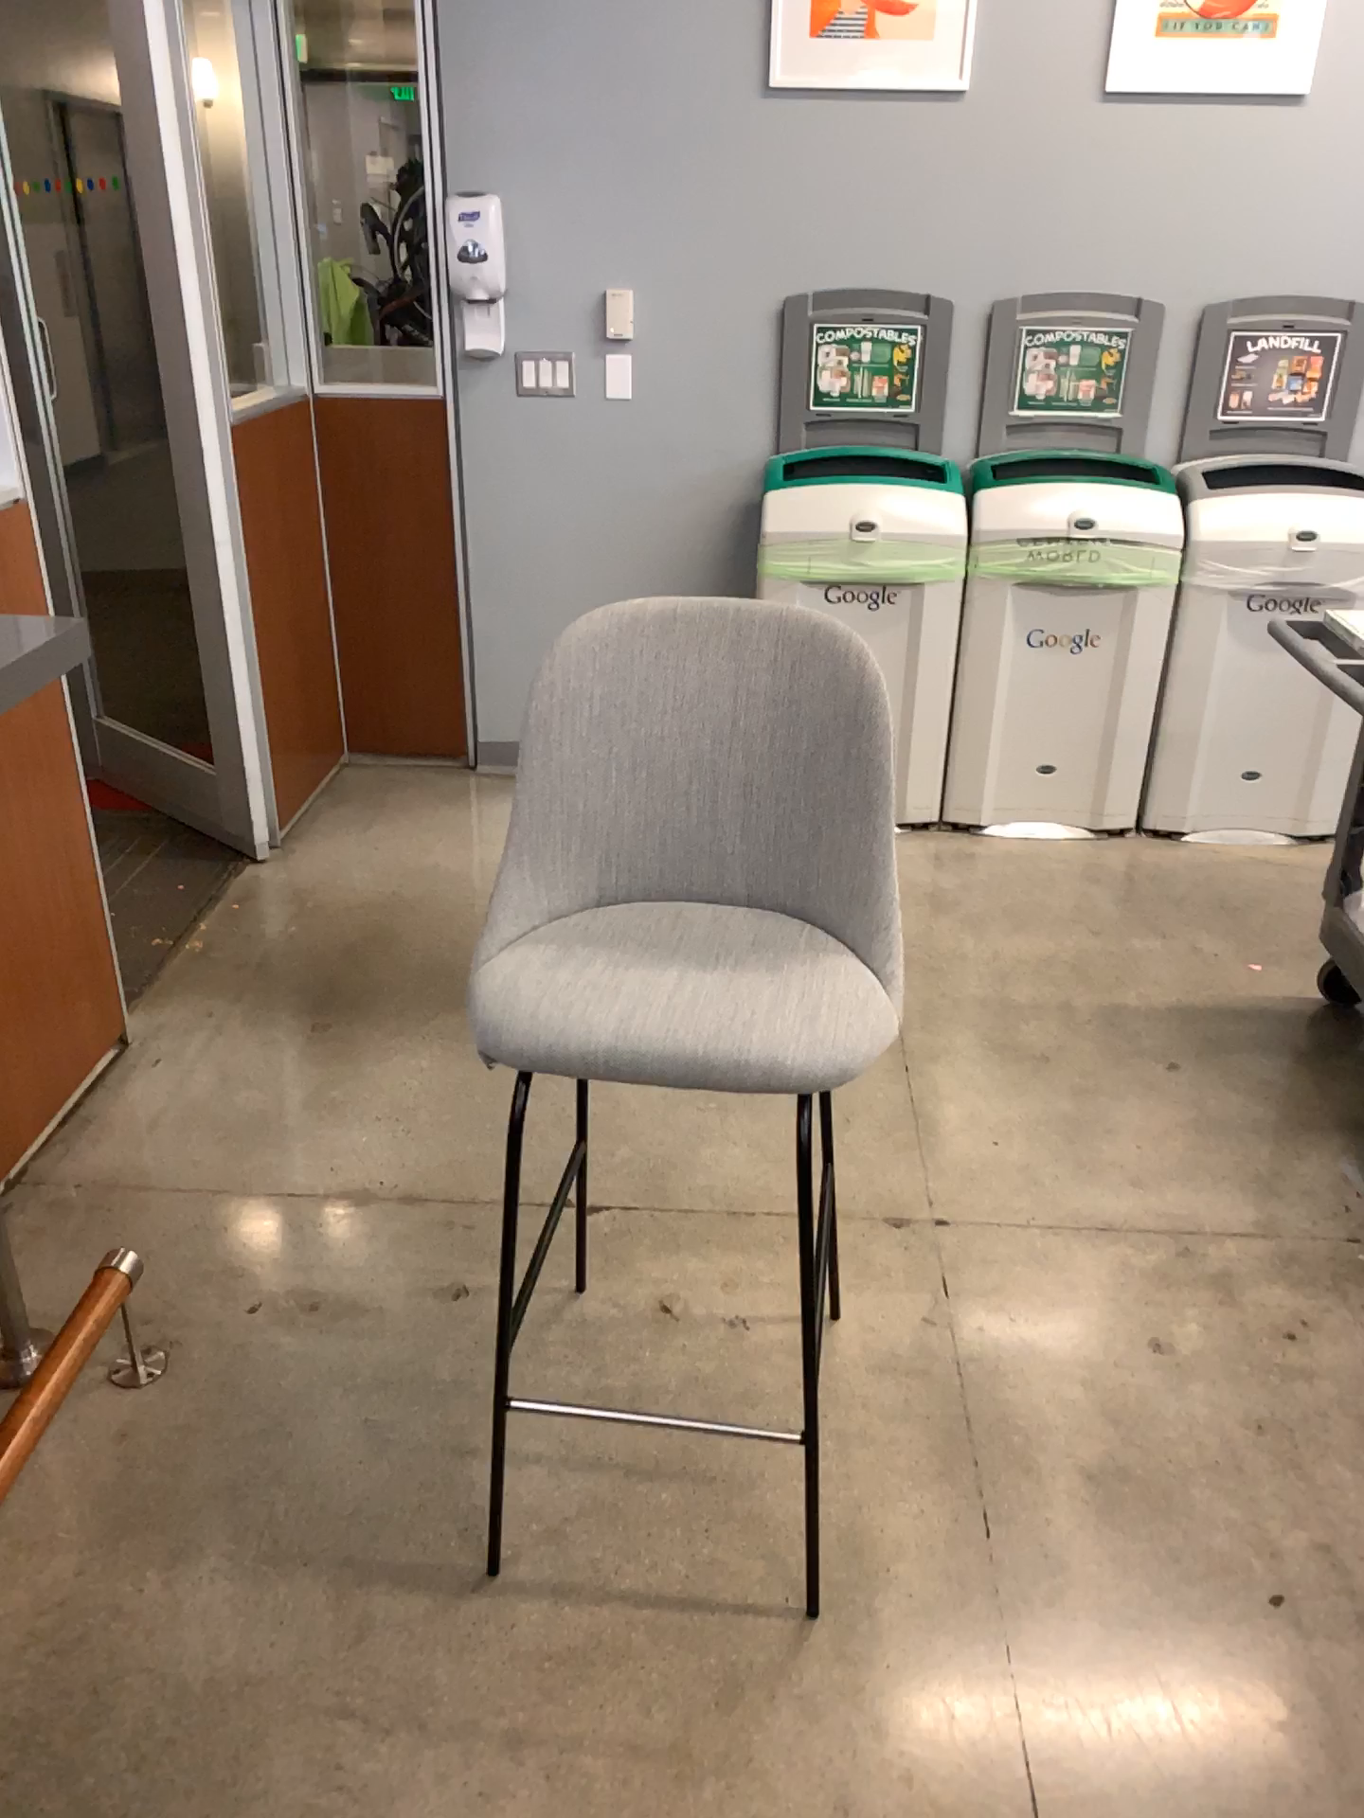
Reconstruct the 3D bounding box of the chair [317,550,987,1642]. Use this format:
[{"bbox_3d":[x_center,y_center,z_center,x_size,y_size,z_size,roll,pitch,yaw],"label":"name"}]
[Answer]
[{"bbox_3d":[0.007,0.180,1.805,0.590,1.094,0.814,4,26,6],"label":"chair"}]
